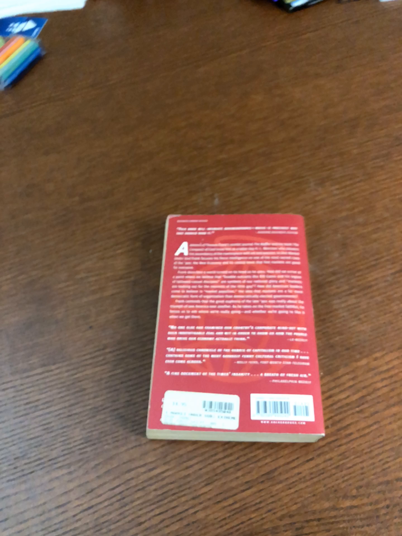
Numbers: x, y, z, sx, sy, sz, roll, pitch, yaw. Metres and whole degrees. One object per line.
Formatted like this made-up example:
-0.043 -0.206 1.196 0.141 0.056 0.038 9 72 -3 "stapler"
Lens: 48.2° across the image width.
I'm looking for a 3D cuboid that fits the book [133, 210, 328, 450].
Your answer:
0.025 0.042 0.391 0.140 0.030 0.211 0 58 4 "book"
